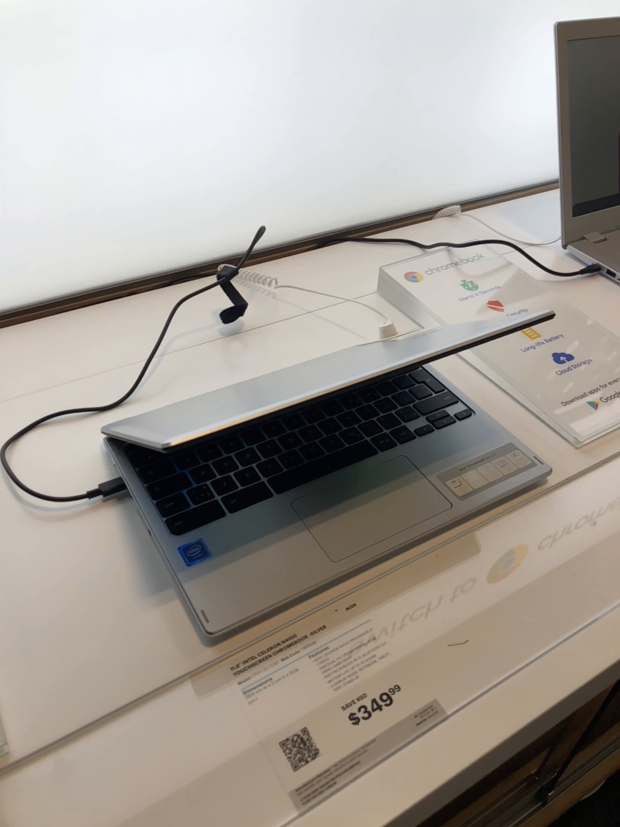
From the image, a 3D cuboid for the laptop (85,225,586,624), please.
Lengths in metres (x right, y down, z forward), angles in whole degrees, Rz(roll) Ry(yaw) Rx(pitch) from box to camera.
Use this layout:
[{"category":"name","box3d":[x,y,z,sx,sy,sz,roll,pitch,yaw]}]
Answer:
[{"category":"laptop","box3d":[0.014,-0.016,0.495,0.280,0.123,0.192,-20,45,-25]}]
